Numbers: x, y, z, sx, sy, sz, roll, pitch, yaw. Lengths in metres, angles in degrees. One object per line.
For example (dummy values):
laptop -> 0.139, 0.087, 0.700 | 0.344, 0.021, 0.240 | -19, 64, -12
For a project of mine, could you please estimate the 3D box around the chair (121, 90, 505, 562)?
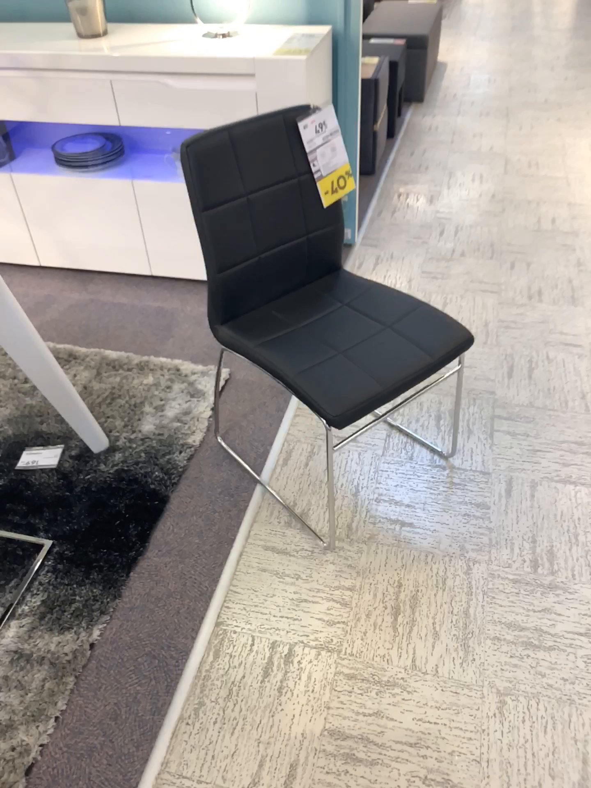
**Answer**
chair -> 0.044, -0.168, 1.517 | 0.522, 0.825, 0.536 | -32, 48, -30
